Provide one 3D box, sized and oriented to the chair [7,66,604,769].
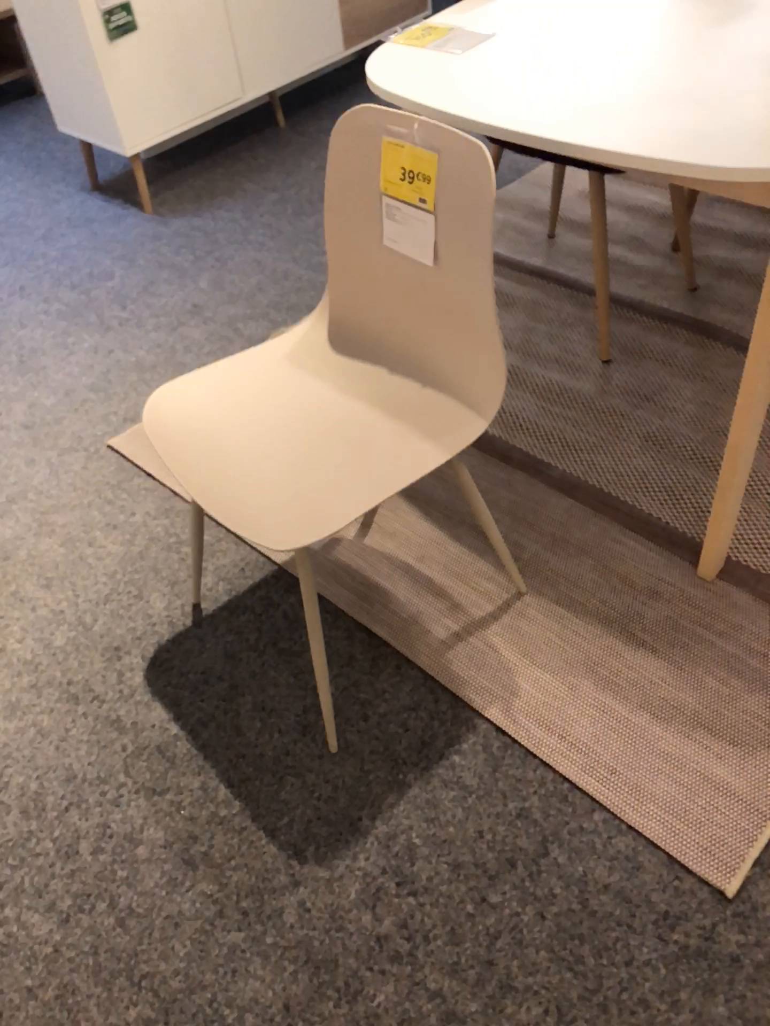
[{"bbox_3d":[-0.065,-0.133,1.262,0.502,0.766,0.500,-37,52,-26],"label":"chair"}]
